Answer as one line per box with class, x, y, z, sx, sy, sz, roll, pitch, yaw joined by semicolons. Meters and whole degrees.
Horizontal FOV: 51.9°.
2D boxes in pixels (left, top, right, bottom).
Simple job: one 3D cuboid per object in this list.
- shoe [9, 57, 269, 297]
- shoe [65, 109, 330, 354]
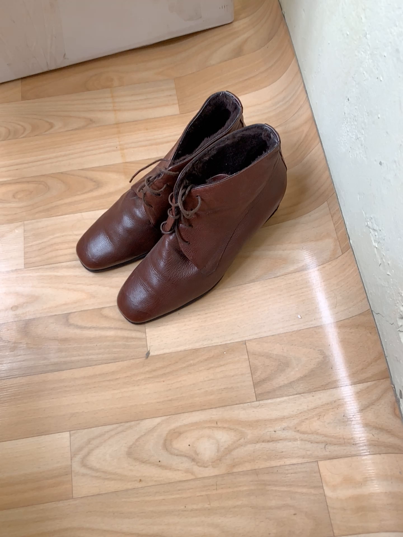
shoe;-0.048;-0.083;0.432;0.220;0.150;0.080;-33;71;-7
shoe;0.004;-0.025;0.417;0.220;0.150;0.080;-37;72;-8
